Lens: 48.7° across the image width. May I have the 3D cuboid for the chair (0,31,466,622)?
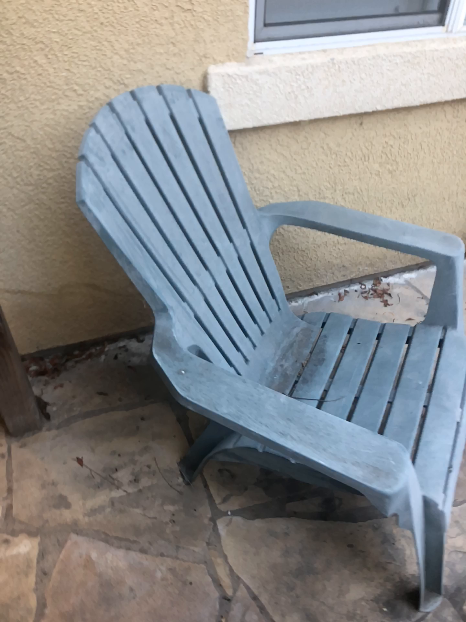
[{"bbox_3d":[-0.031,0.093,1.245,0.909,1.220,0.747,11,41,22],"label":"chair"}]
